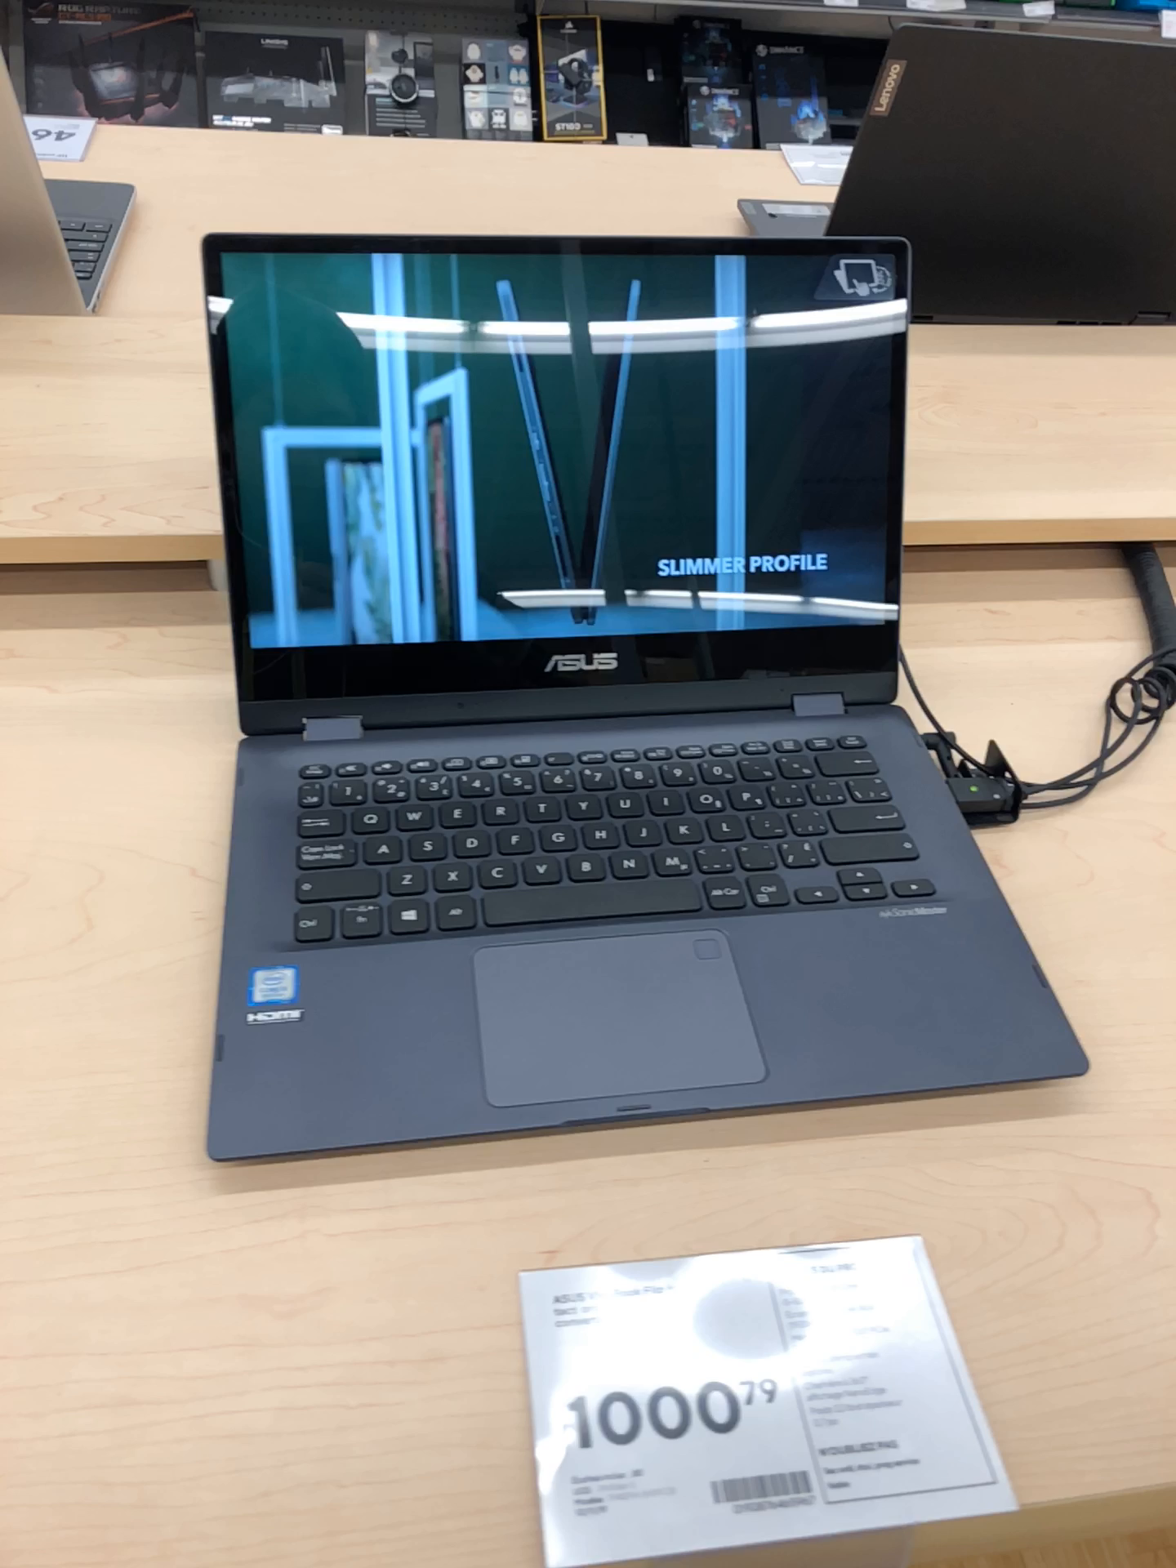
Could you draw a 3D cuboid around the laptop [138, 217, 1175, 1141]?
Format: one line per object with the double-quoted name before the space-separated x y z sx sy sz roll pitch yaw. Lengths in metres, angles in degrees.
"laptop" 0.011 -0.064 0.525 0.320 0.184 0.332 -3 45 -9
